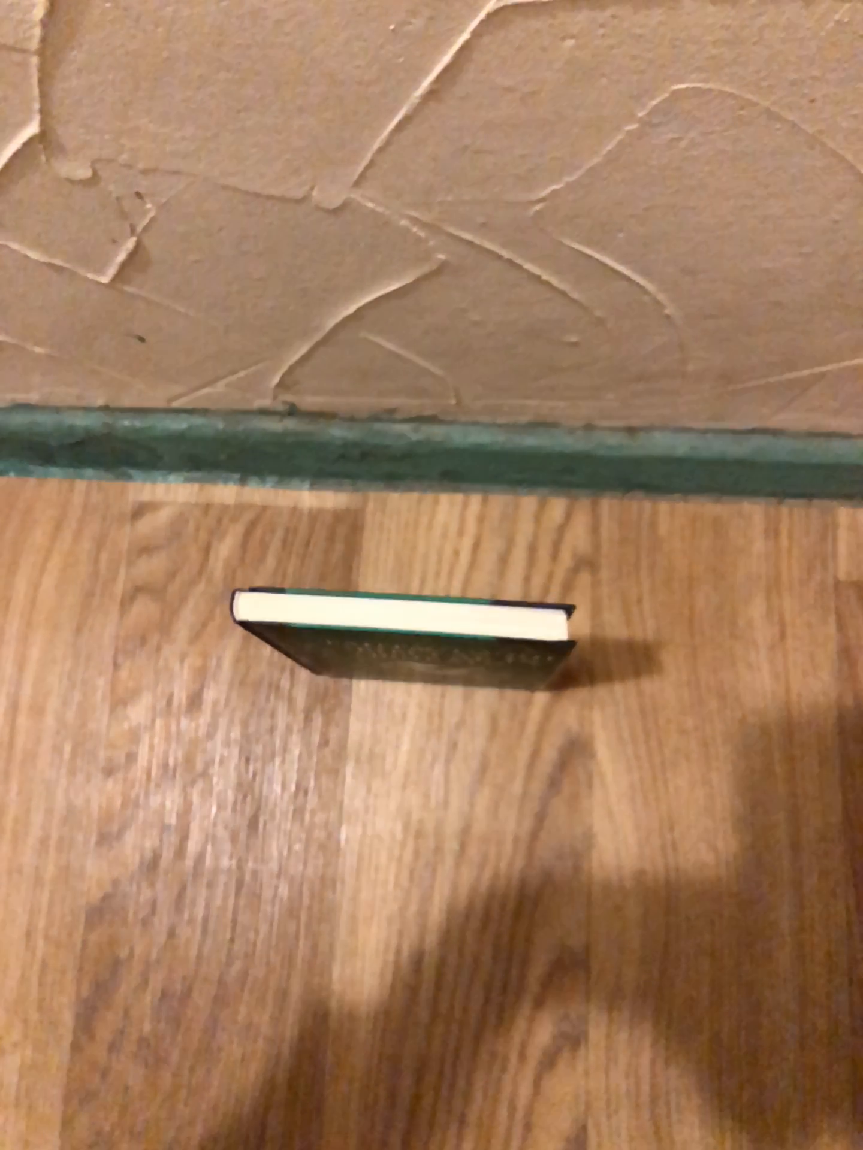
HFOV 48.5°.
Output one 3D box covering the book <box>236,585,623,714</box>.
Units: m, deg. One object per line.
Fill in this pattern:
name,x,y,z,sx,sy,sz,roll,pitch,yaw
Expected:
book,0.003,0.042,0.465,0.148,0.197,0.024,4,78,3
